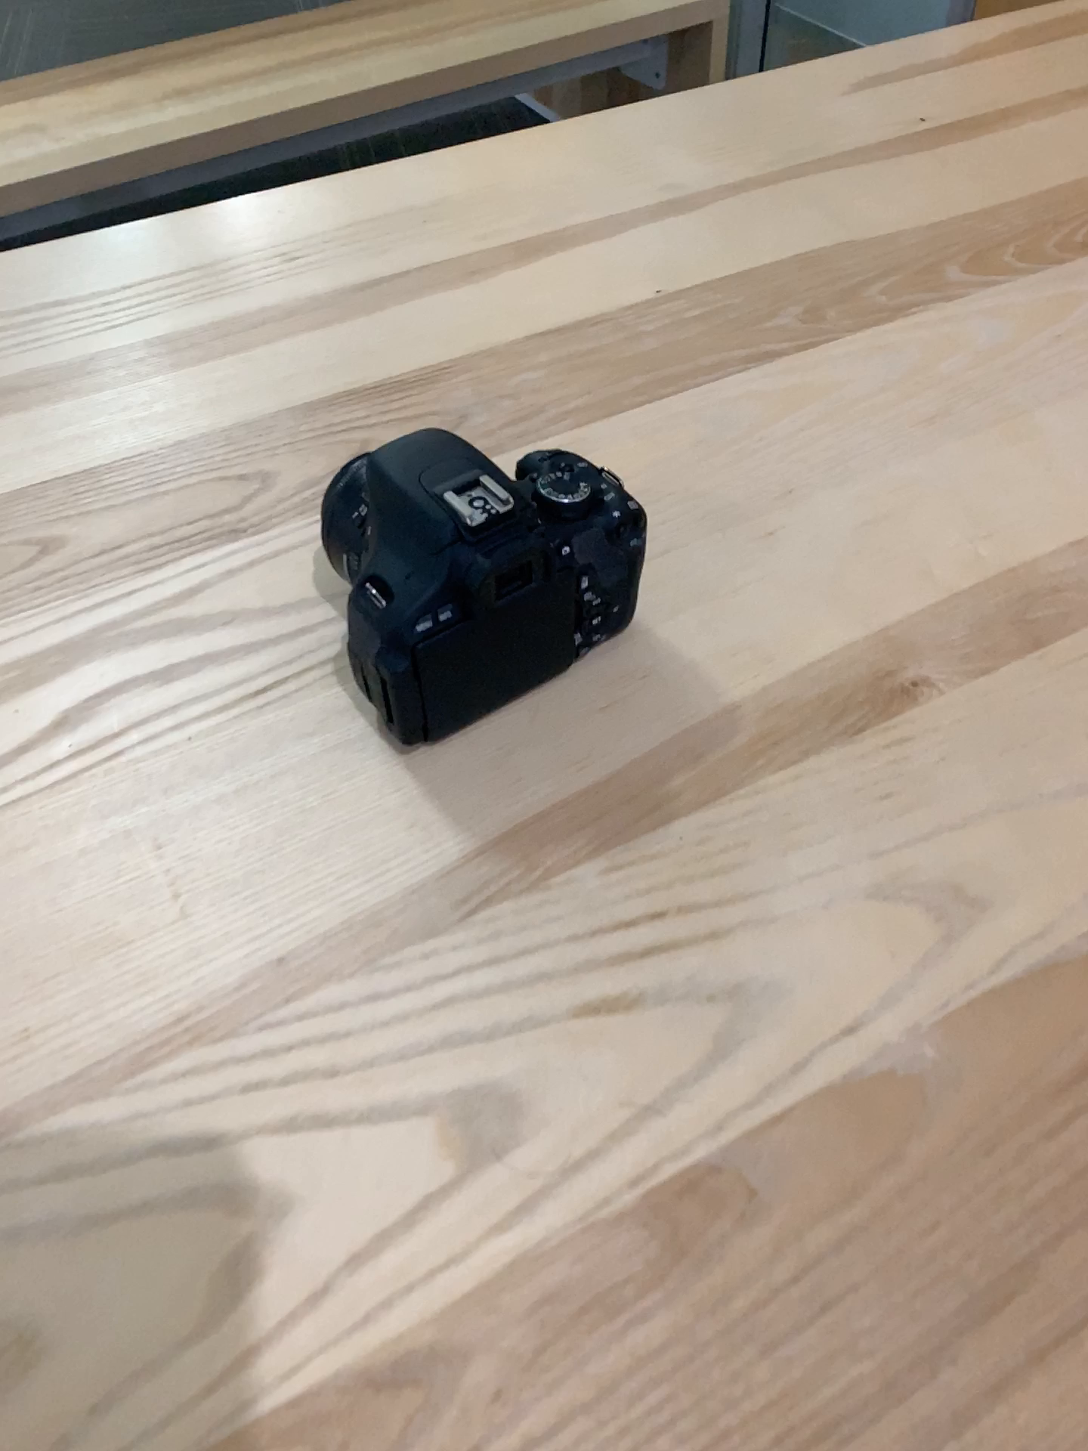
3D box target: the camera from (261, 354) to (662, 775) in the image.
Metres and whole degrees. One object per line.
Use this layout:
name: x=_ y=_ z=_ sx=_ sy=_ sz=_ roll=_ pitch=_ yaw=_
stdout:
camera: x=-0.037 y=-0.074 z=0.495 sx=0.120 sy=0.101 sz=0.114 roll=-30 pitch=60 yaw=-23
